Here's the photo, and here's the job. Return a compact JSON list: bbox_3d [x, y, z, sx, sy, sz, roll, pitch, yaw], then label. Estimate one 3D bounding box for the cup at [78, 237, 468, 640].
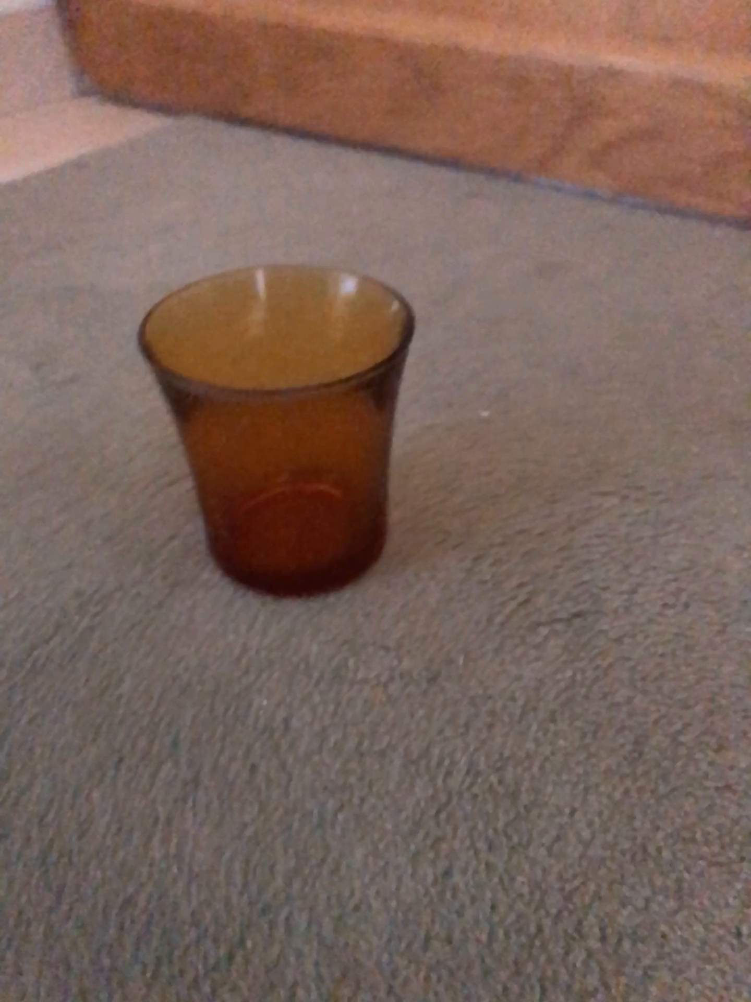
[{"bbox_3d":[-0.023,-0.021,0.234,0.070,0.070,0.070,-1,38,1],"label":"cup"}]
